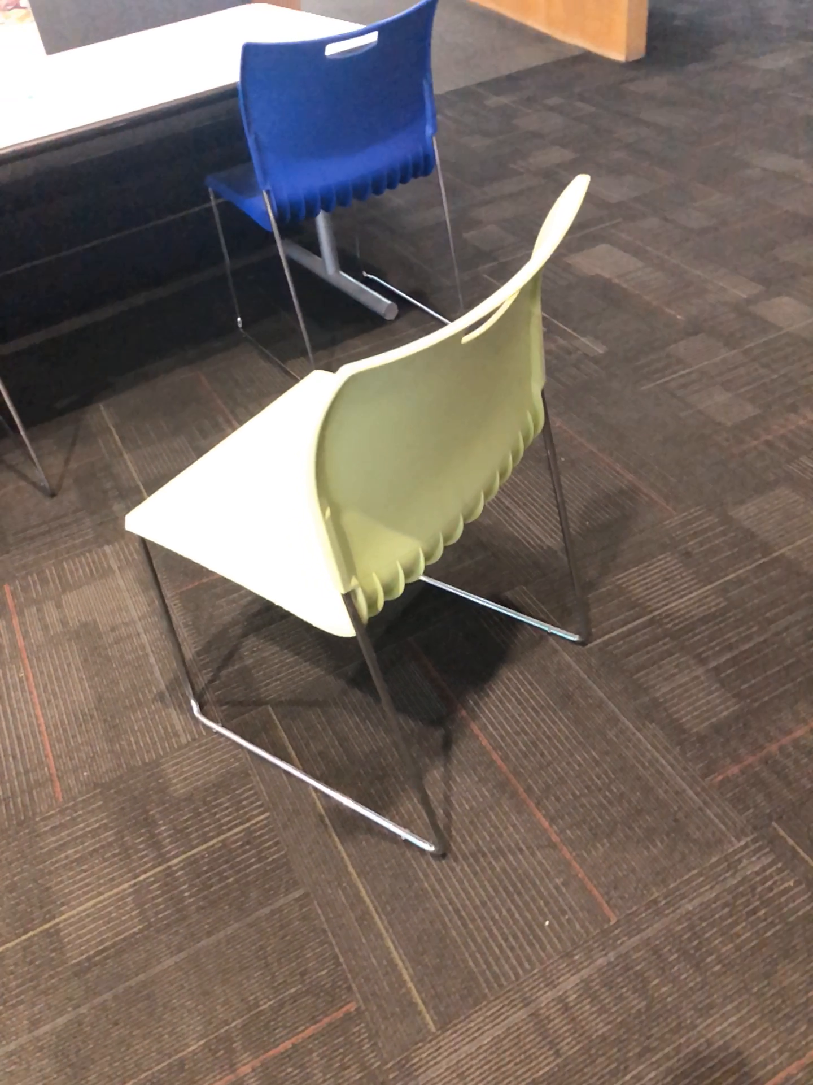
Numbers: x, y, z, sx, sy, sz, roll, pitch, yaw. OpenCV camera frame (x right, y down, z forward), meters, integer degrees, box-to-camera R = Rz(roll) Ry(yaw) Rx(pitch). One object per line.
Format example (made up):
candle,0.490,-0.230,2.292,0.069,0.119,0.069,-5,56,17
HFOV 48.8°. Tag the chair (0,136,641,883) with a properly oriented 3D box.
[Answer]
chair,-0.060,-0.066,1.256,0.542,0.756,0.541,20,48,29
